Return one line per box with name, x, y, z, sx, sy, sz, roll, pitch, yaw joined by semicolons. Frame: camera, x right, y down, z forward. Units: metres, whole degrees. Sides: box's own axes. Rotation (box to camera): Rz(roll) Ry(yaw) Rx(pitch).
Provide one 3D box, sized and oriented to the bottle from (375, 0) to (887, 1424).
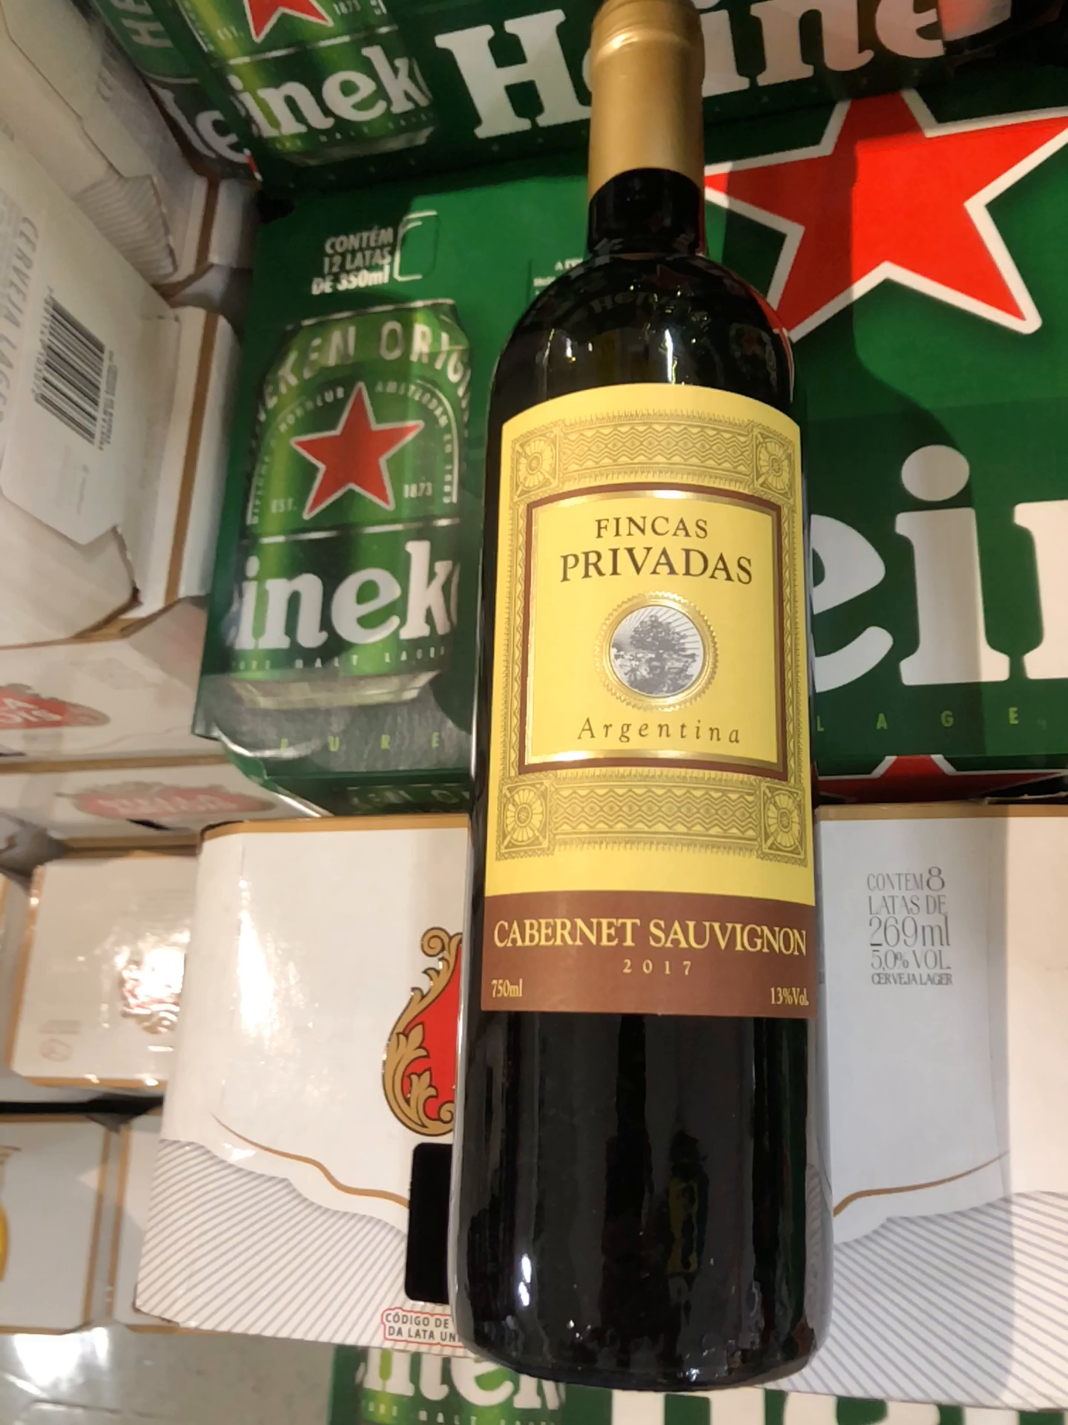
bottle;0.030;-0.037;0.262;0.080;0.060;0.331;-2;71;16
